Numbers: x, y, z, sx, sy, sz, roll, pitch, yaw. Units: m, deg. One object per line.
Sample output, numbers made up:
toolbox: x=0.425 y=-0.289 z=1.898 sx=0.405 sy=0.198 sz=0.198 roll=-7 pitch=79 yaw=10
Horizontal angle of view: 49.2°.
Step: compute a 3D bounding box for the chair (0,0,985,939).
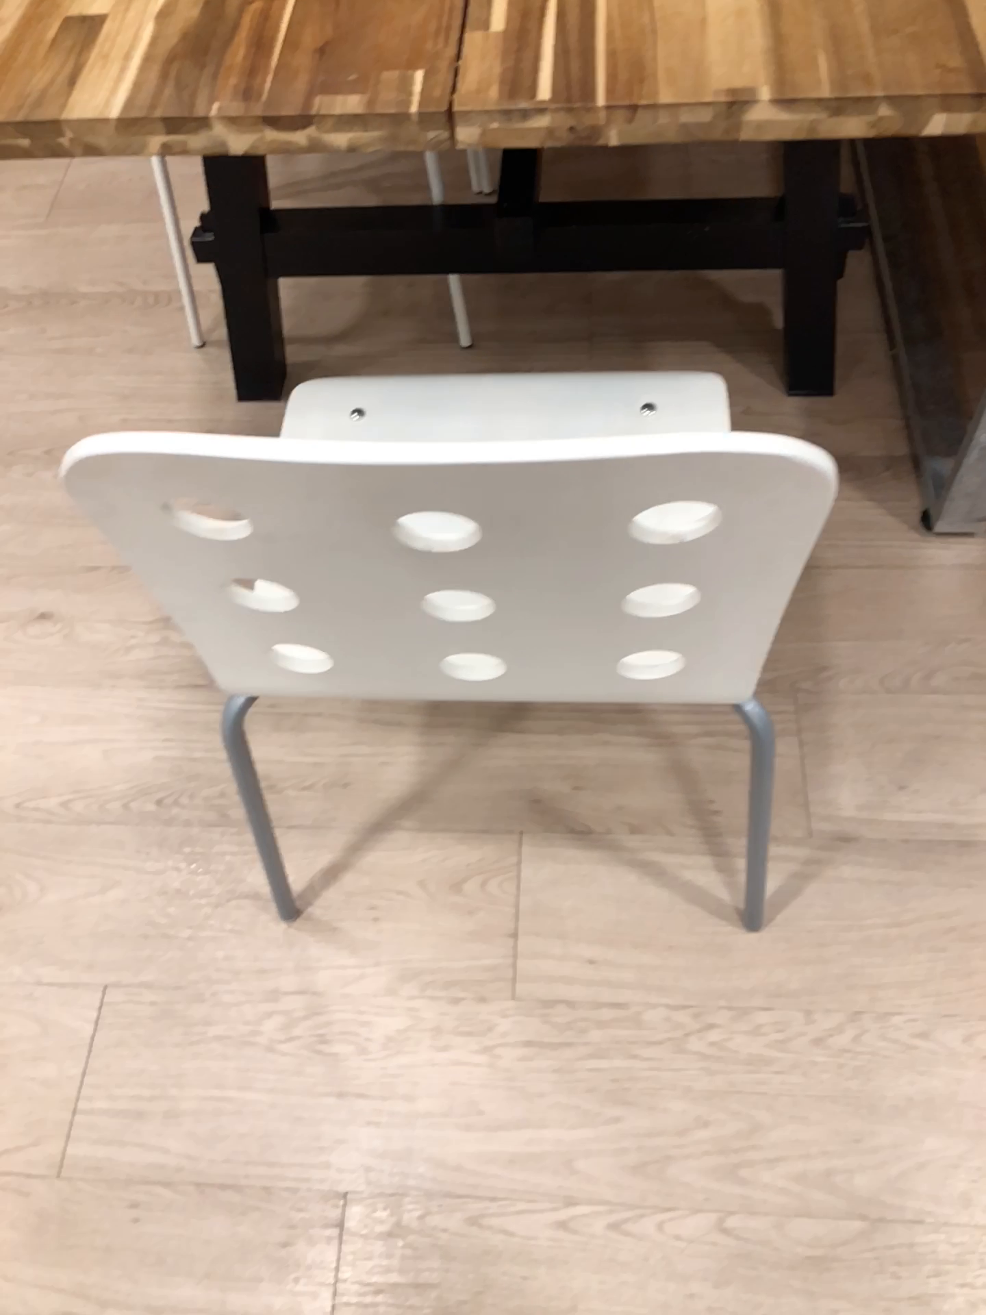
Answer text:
chair: x=0.003 y=-0.108 z=0.962 sx=0.570 sy=0.717 sz=0.492 roll=-2 pitch=57 yaw=4
